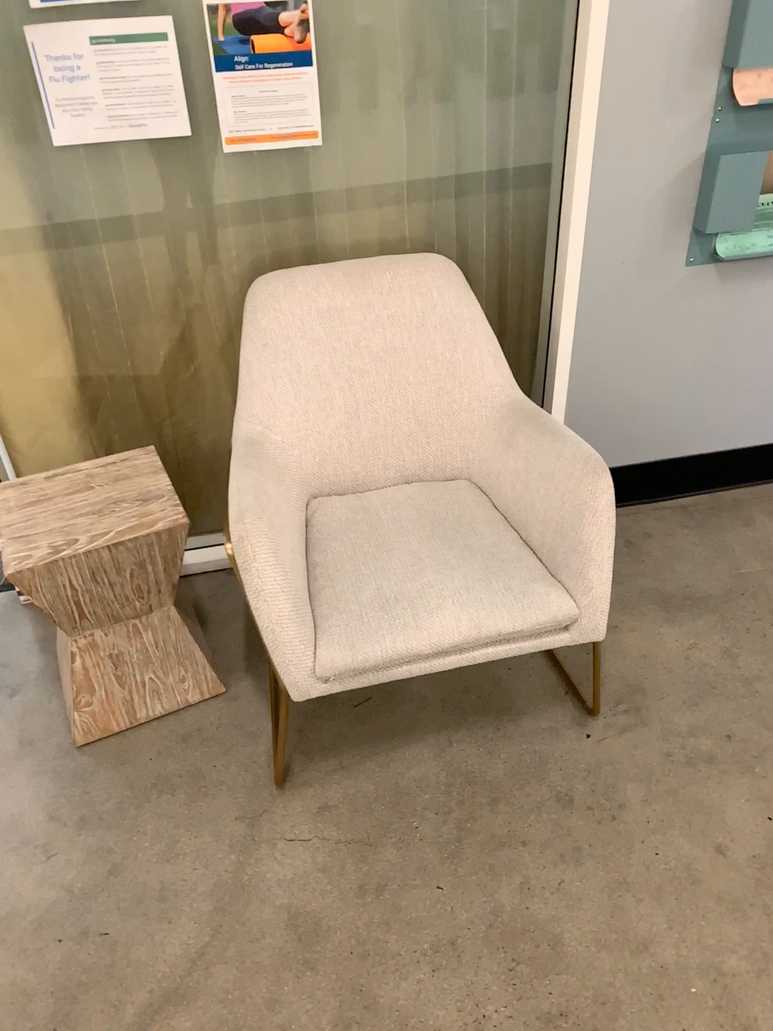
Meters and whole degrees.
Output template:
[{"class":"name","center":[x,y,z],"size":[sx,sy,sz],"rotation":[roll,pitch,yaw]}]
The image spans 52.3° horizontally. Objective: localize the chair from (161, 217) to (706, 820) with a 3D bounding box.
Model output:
[{"class":"chair","center":[0.019,-0.043,1.665],"size":[0.780,0.865,0.775],"rotation":[-10,36,-11]}]
